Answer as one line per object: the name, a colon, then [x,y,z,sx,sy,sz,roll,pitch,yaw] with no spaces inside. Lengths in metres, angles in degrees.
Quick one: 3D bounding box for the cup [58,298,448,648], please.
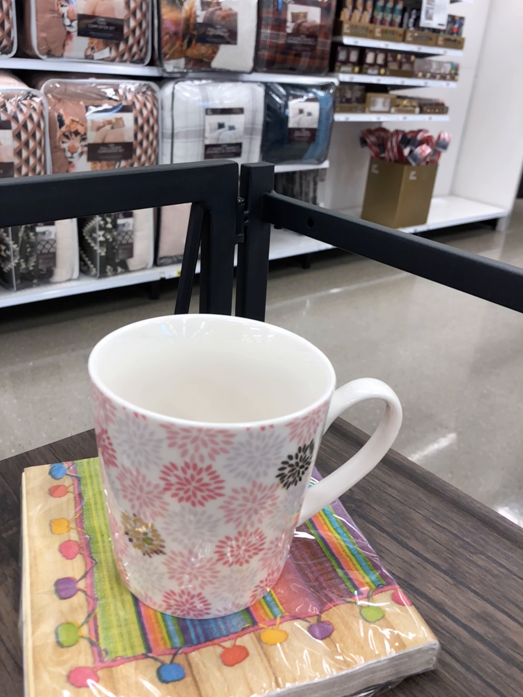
cup: [-0.013,0.045,0.266,0.140,0.100,0.100,-4,28,-16]
